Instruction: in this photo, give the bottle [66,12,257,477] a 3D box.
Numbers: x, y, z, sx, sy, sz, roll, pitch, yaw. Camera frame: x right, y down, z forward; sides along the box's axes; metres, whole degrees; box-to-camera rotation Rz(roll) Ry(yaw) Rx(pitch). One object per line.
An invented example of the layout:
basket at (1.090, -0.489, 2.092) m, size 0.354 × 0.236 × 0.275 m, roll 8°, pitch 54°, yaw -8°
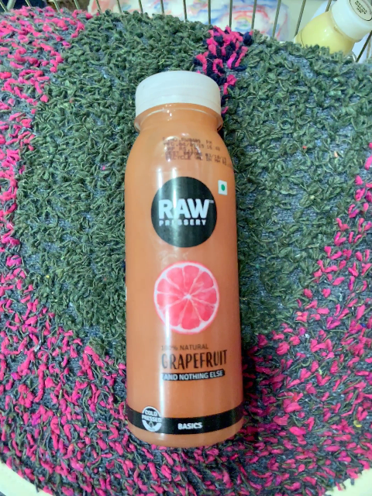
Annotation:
bottle at (-0.007, -0.004, 0.161) m, size 0.060 × 0.060 × 0.160 m, roll 0°, pitch 82°, yaw 1°
